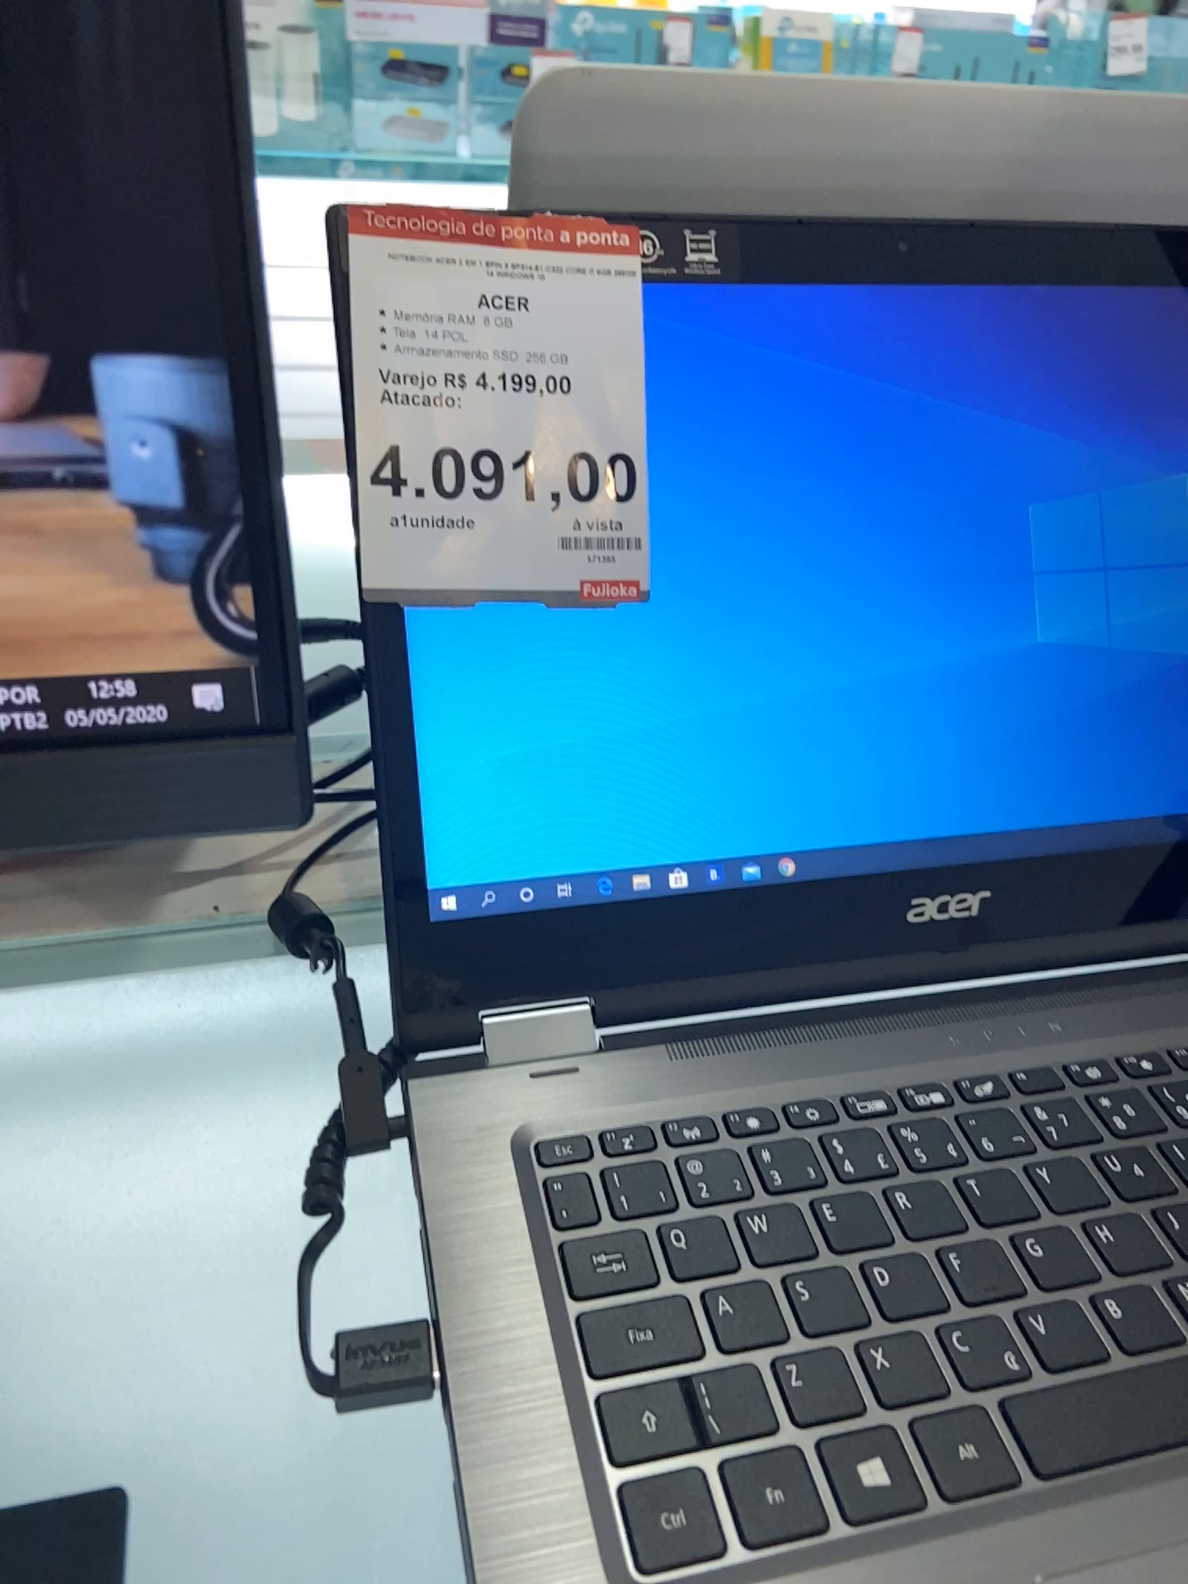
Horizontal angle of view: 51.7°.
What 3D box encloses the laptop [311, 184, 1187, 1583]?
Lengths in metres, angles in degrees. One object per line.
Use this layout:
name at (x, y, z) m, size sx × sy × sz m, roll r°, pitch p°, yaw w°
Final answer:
laptop at (0.122, 0.000, 0.268) m, size 0.328 × 0.187 × 0.357 m, roll -5°, pitch 34°, yaw -13°
